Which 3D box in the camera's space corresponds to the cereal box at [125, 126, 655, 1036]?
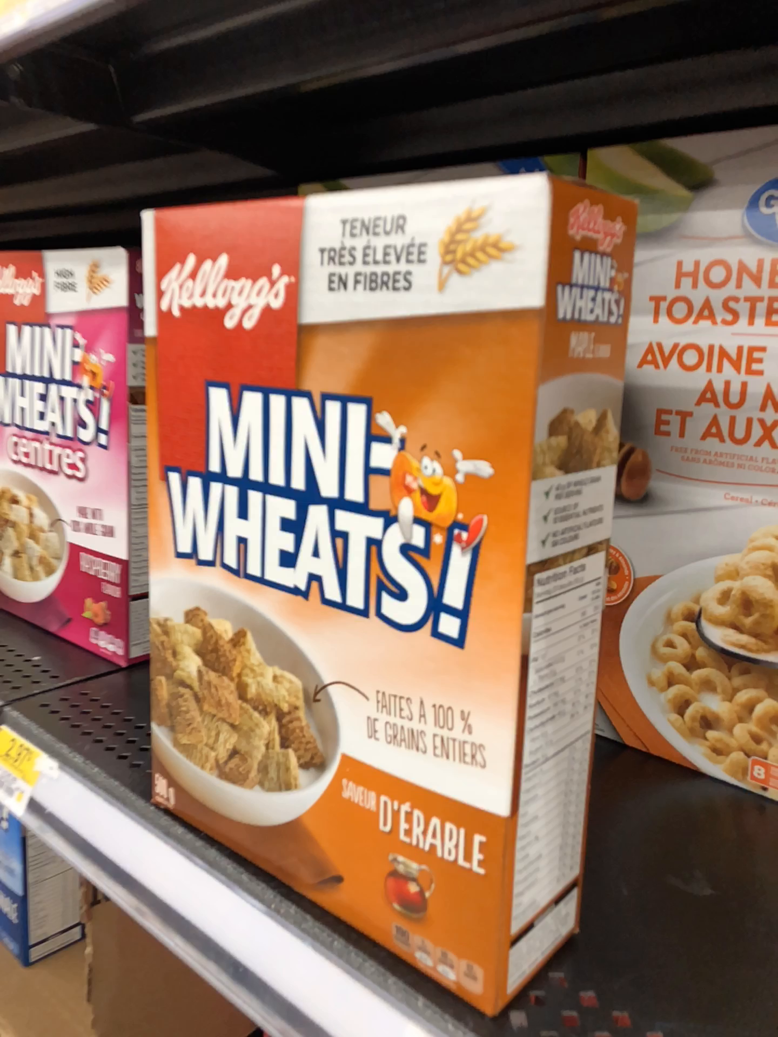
[{"bbox_3d":[-0.016,0.012,0.331,0.200,0.269,0.060,12,15,41],"label":"cereal box"}]
